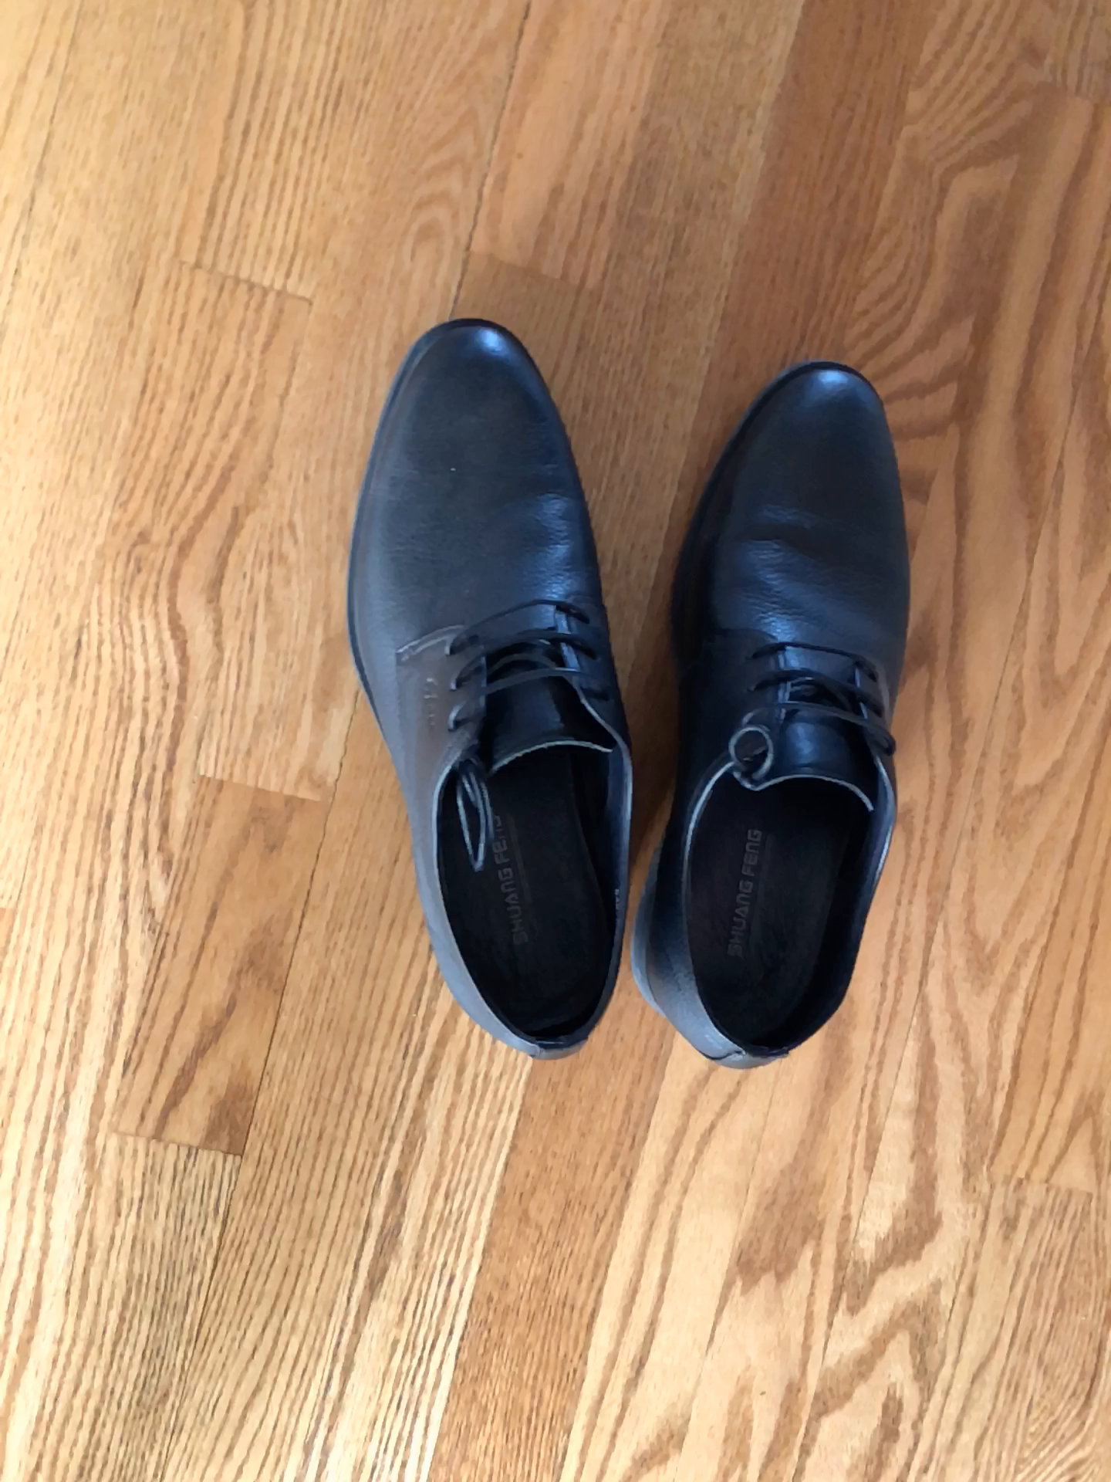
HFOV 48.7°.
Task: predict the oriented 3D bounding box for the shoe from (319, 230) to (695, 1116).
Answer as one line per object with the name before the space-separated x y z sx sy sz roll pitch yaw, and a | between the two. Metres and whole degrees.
shoe | -0.024 -0.026 0.492 0.110 0.124 0.304 -5 93 -9

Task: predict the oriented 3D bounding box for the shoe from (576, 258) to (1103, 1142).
shoe | 0.104 -0.014 0.500 0.110 0.124 0.299 13 90 -9
